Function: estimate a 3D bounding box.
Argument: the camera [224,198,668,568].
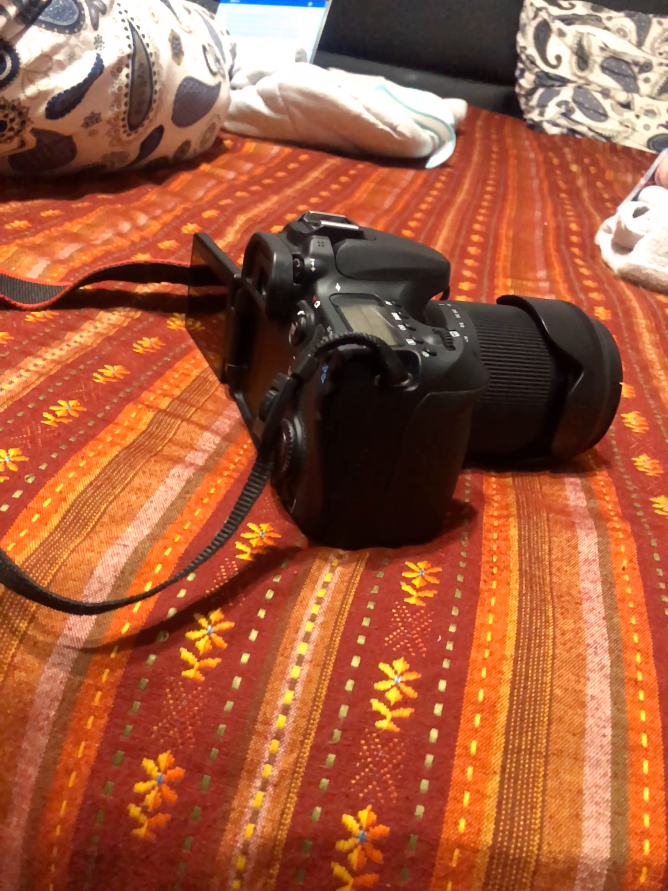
[{"bbox_3d":[0.054,-0.038,0.335,0.170,0.099,0.131,-5,35,-24],"label":"camera"}]
